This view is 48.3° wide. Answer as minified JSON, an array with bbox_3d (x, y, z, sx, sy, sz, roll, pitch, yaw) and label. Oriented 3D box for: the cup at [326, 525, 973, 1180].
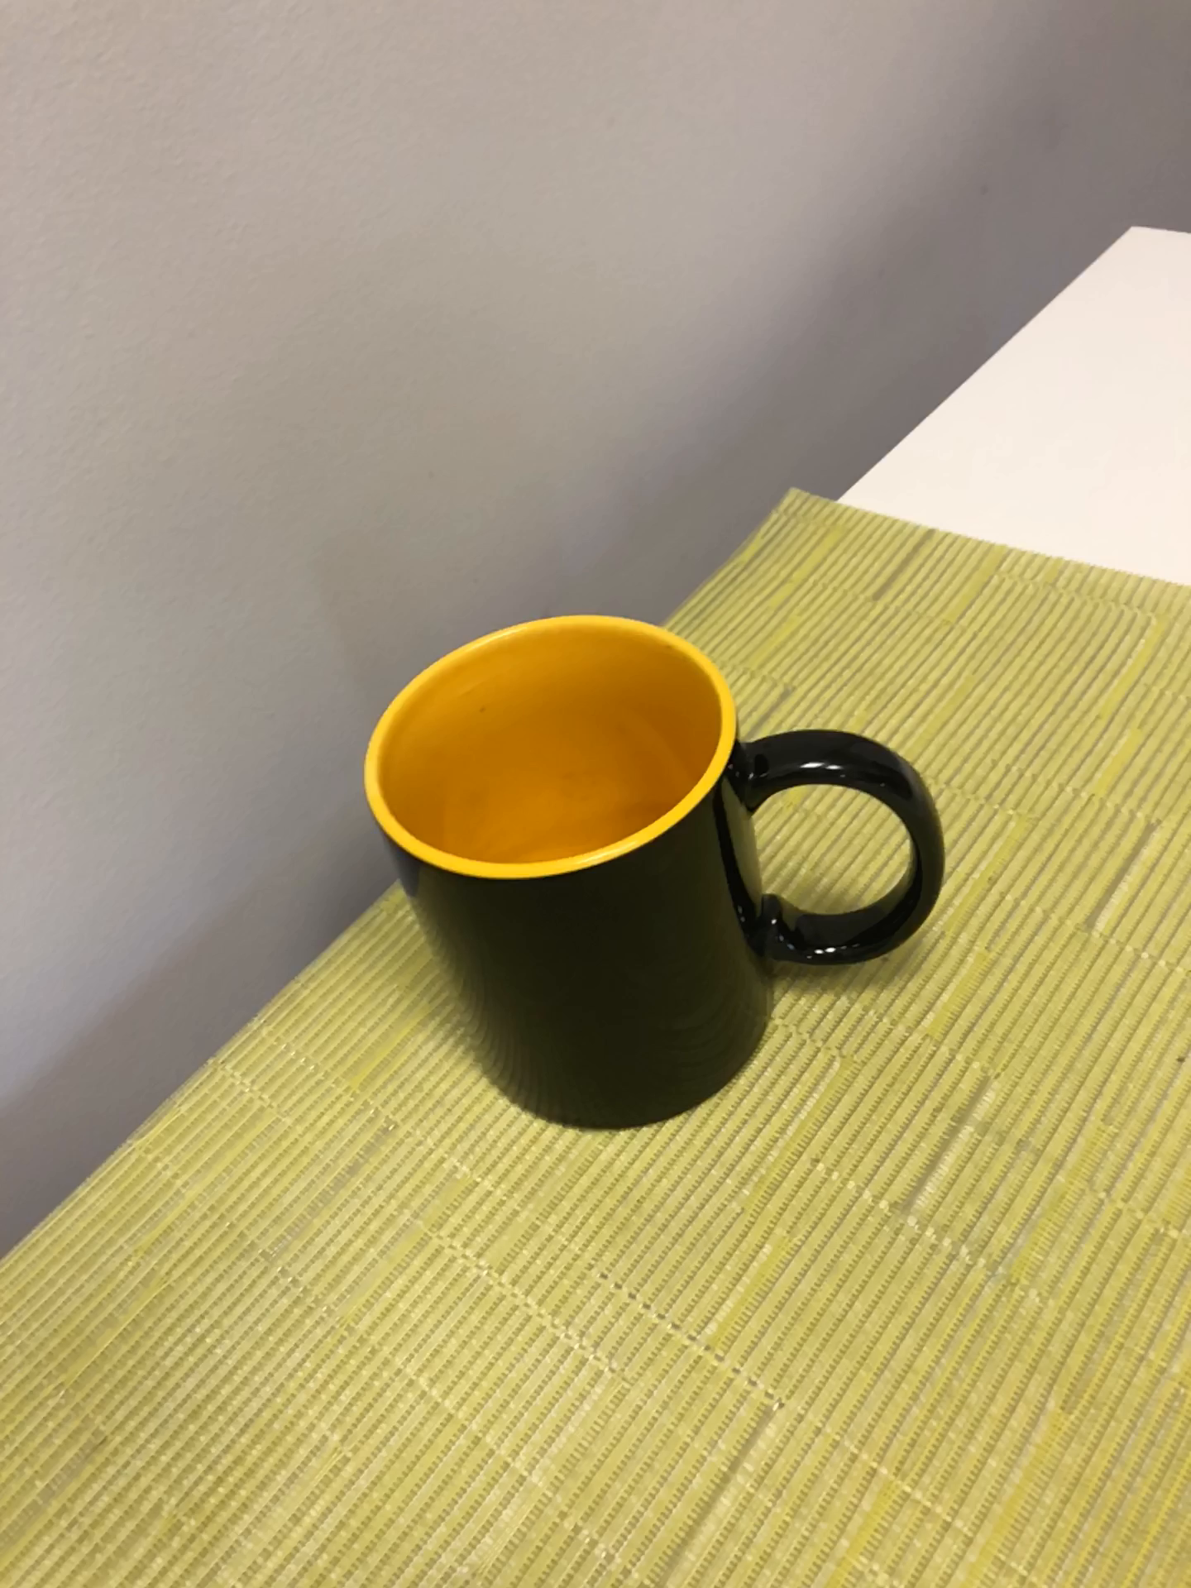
[{"bbox_3d":[0.016,0.016,0.309,0.119,0.104,0.089,-9,44,5],"label":"cup"}]
